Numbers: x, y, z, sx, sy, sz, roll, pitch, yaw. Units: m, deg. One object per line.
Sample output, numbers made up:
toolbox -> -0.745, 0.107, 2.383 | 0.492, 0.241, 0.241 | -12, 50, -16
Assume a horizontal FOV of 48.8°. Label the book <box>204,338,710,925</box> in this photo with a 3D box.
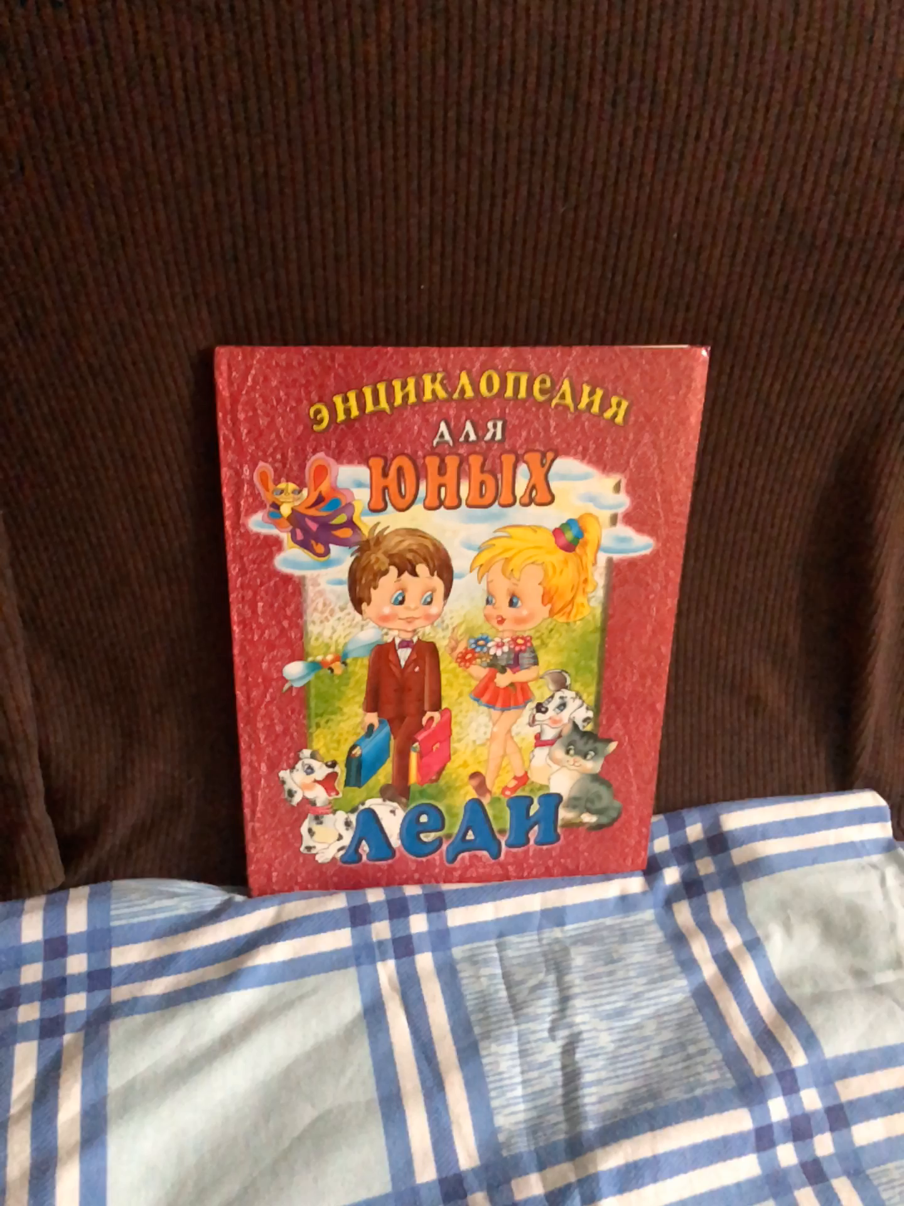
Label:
book -> 0.001, 0.023, 0.508 | 0.230, 0.303, 0.020 | -3, 22, -11
